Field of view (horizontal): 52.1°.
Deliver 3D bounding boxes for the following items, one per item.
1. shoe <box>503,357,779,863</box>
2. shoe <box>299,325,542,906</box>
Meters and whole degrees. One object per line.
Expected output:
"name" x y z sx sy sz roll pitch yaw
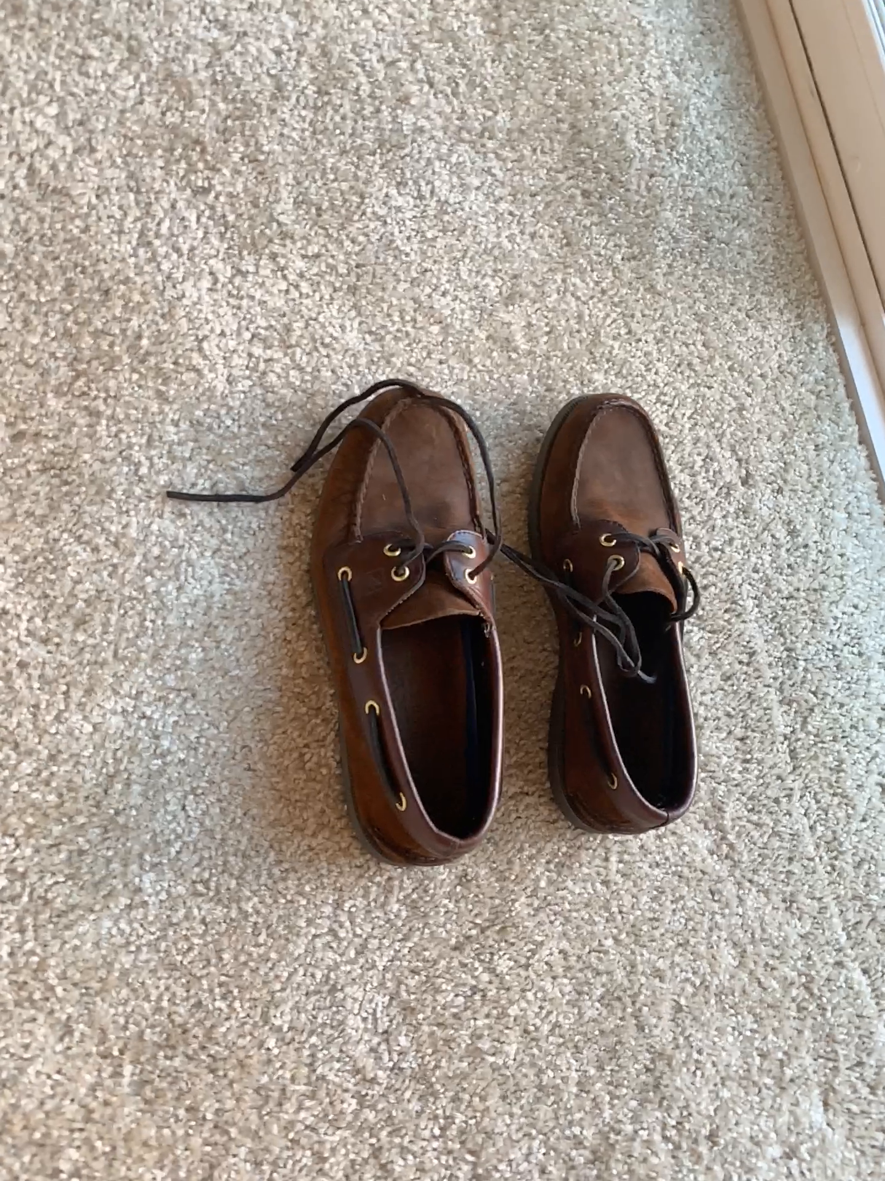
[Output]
"shoe" 0.124 0.012 0.597 0.110 0.100 0.300 -1 81 -21
"shoe" -0.021 0.013 0.558 0.100 0.100 0.320 -1 81 -21
